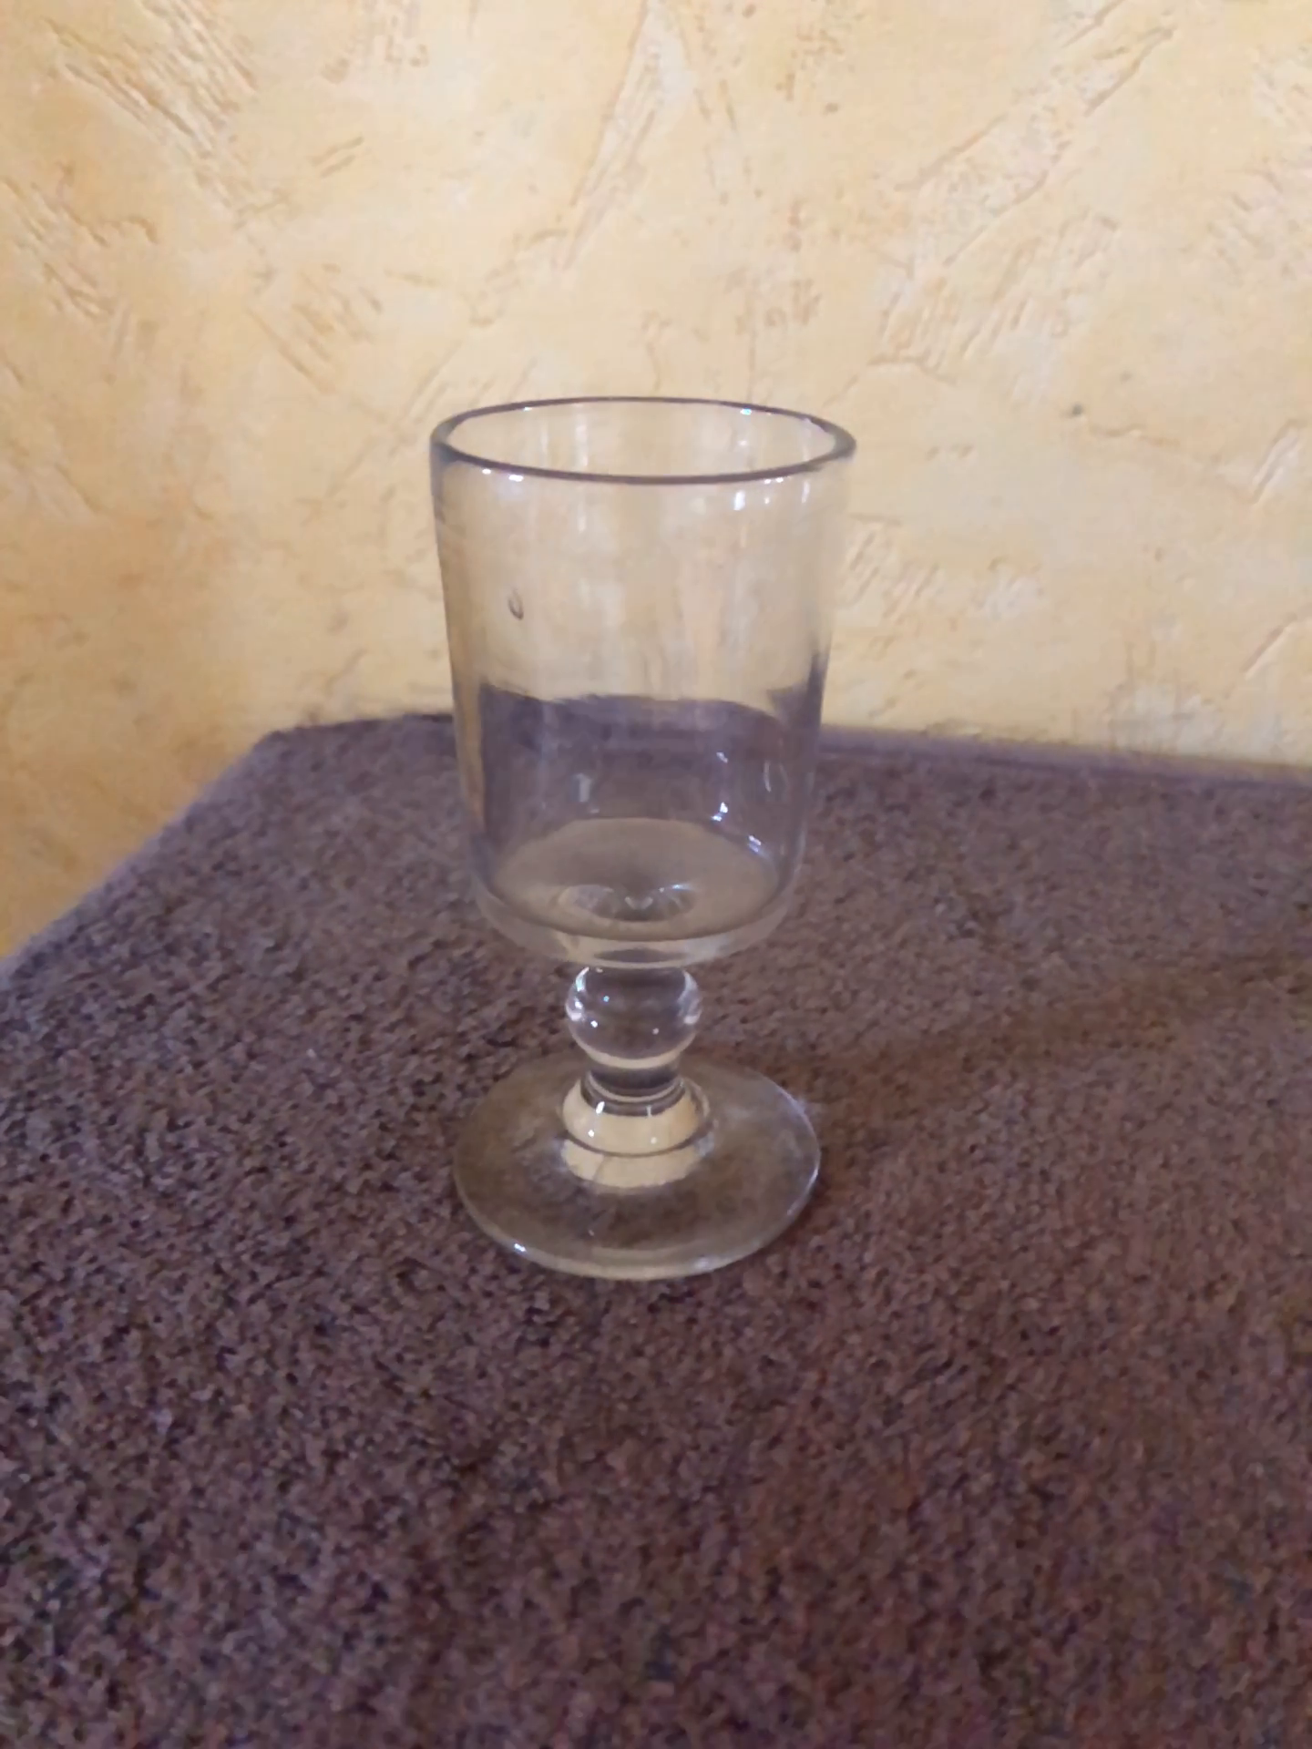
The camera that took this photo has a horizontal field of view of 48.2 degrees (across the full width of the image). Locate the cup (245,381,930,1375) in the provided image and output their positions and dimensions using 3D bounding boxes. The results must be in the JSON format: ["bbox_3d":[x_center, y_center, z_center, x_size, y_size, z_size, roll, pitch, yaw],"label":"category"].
[{"bbox_3d":[-0.006,-0.003,0.199,0.060,0.109,0.060,1,27,0],"label":"cup"}]
